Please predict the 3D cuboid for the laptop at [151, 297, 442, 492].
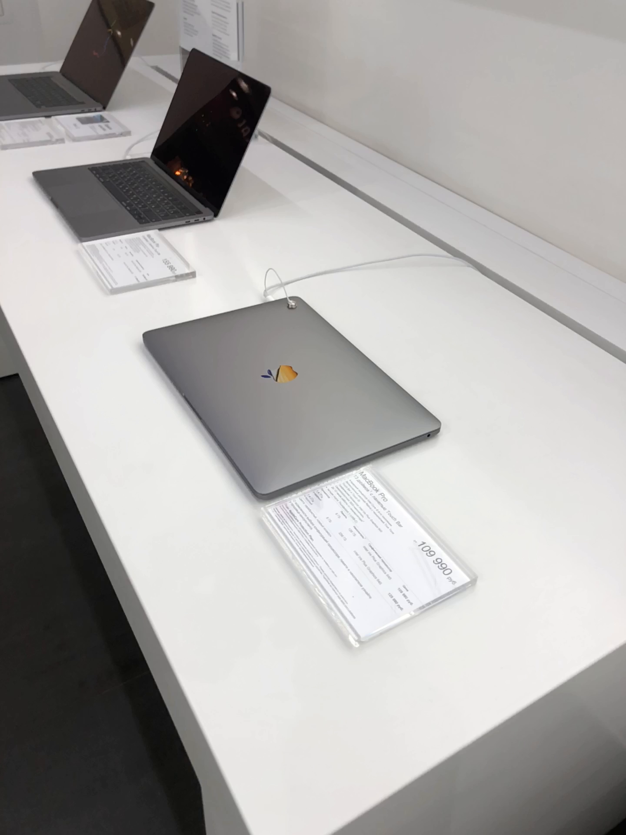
[{"bbox_3d":[-0.030,-0.044,0.746,0.199,0.001,0.294,-18,43,-24],"label":"laptop"}]
